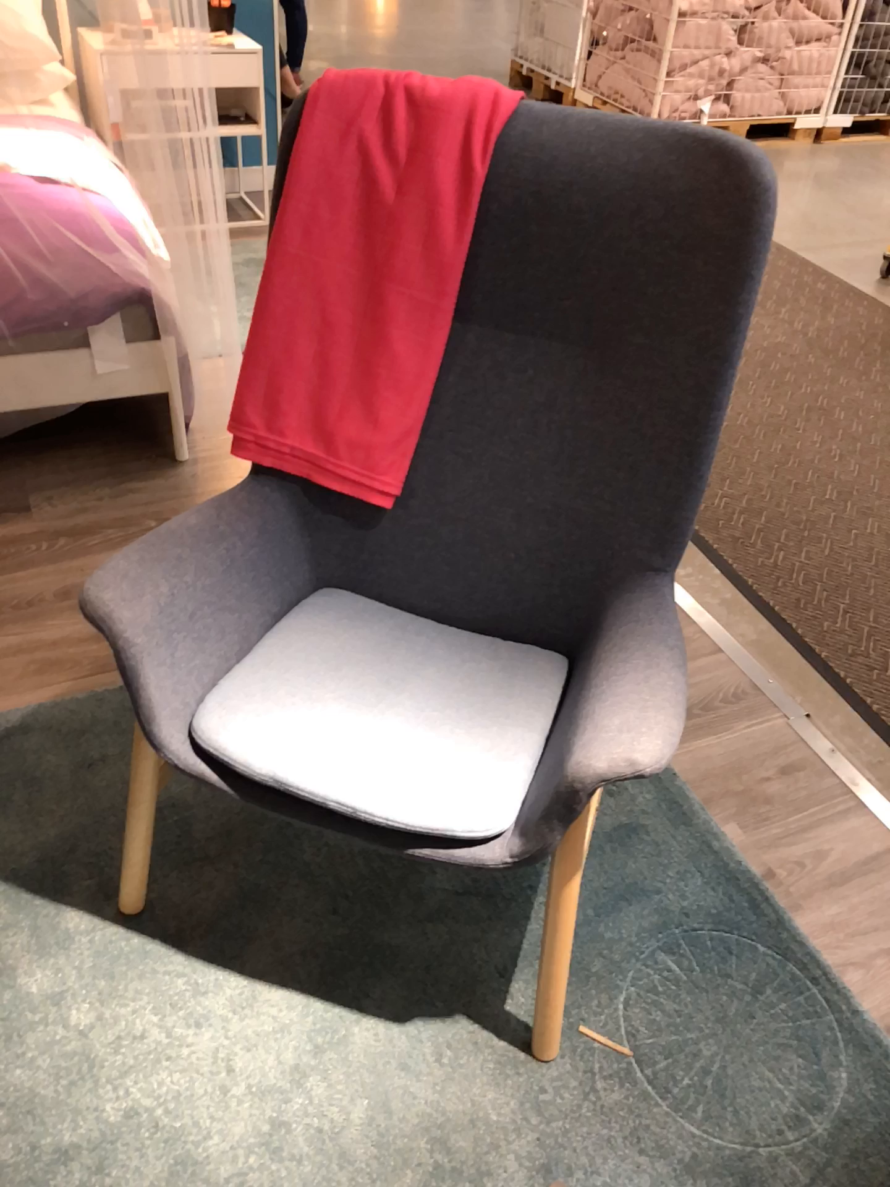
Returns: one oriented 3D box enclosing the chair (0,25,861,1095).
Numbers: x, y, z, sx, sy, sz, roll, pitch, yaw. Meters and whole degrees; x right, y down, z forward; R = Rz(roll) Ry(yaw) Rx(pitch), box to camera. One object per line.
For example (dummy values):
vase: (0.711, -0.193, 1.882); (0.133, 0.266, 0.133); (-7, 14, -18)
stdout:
chair: (-0.051, -0.062, 1.253); (0.790, 0.996, 0.703); (14, 39, 11)
